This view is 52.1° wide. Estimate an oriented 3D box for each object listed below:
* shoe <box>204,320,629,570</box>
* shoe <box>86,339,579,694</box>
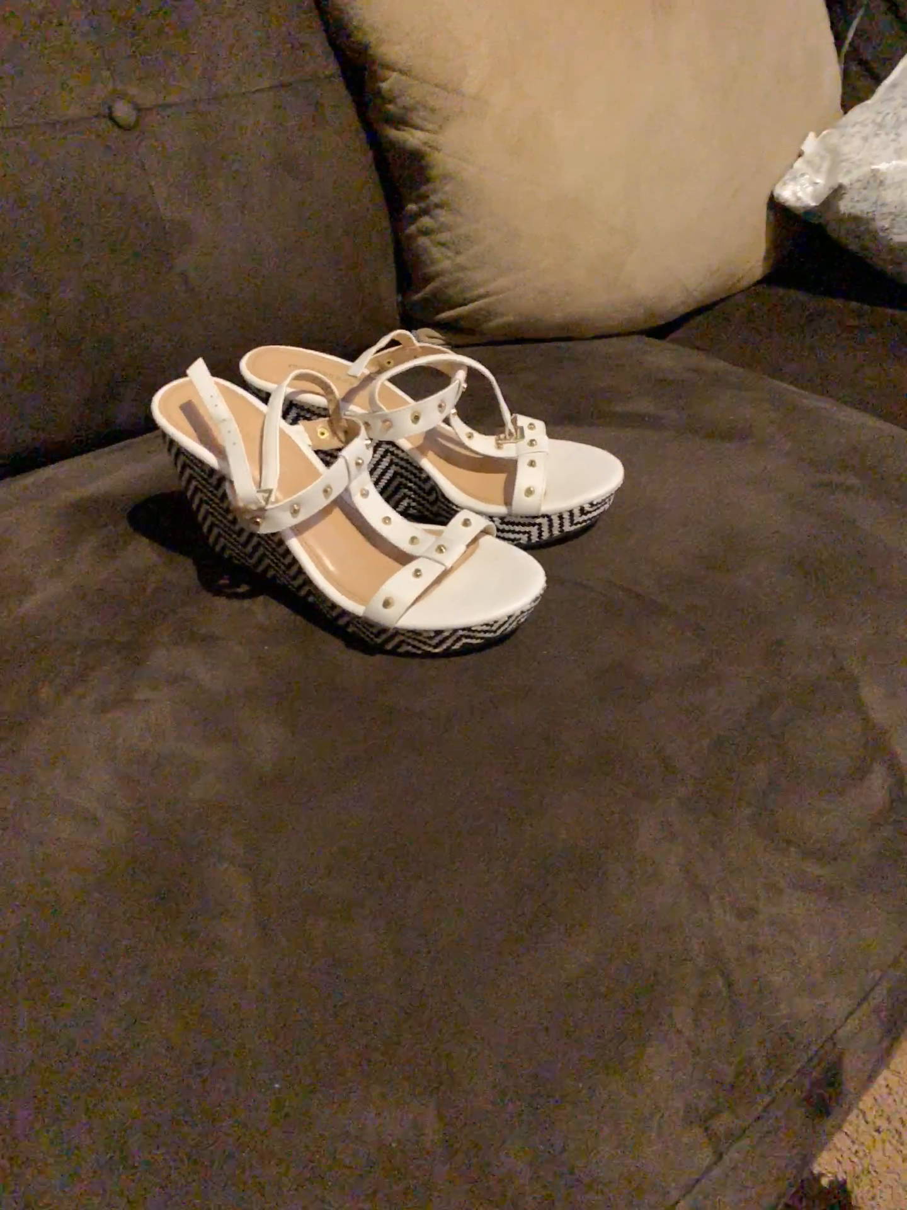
[{"bbox_3d":[-0.020,-0.110,0.612,0.250,0.099,0.100,9,36,10],"label":"shoe"},{"bbox_3d":[-0.073,-0.064,0.551,0.260,0.099,0.110,21,40,22],"label":"shoe"}]
